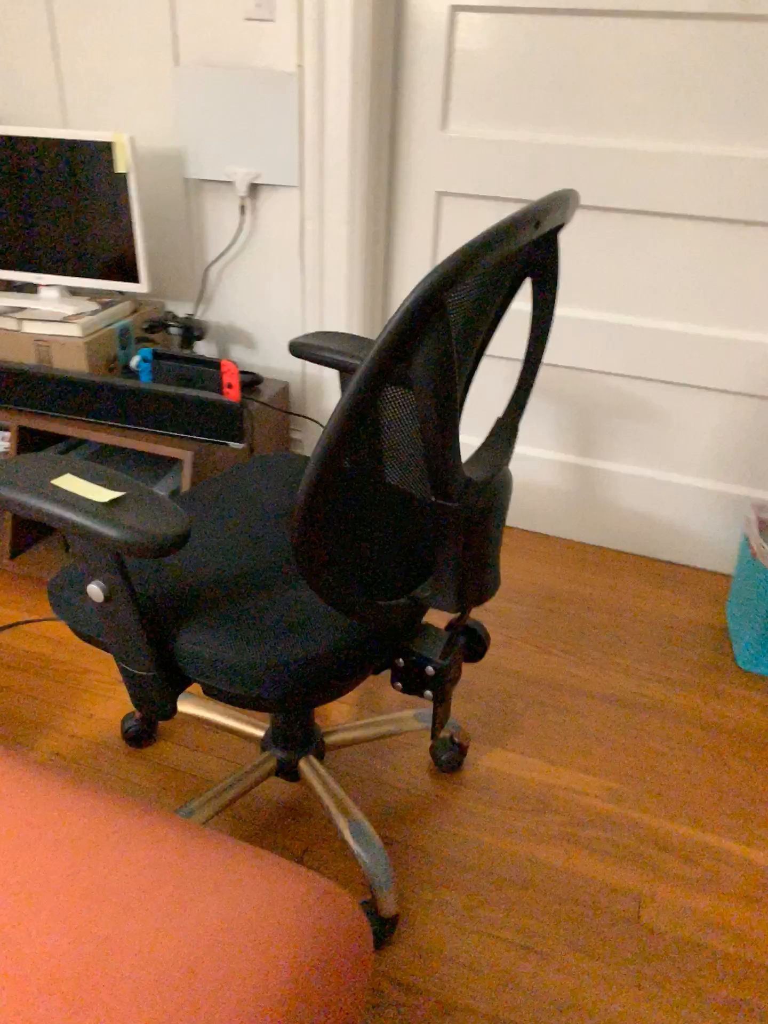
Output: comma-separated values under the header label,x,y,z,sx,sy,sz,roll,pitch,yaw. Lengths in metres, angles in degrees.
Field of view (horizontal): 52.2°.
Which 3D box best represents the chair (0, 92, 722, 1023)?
label,x,y,z,sx,sy,sz,roll,pitch,yaw
chair,-0.094,0.021,1.077,0.662,0.974,0.642,22,34,22
